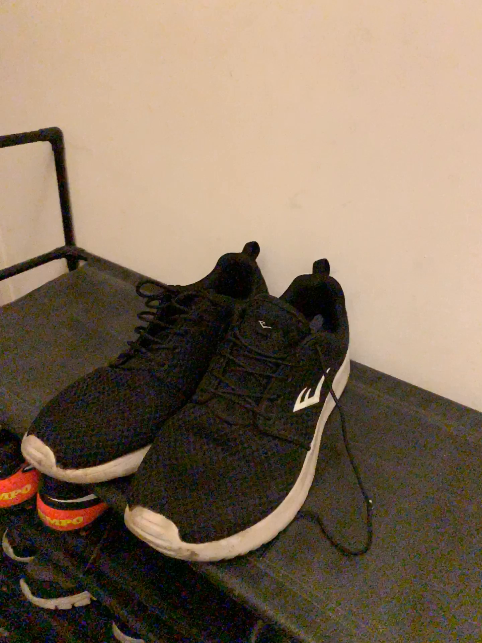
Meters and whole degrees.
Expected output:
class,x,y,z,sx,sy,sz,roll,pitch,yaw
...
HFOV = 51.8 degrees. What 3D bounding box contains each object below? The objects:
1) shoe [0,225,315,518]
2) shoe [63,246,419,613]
class,x,y,z,sx,sy,sz,roll,pitch,yaw
shoe,-0.061,0.013,0.448,0.110,0.099,0.302,22,36,29
shoe,0.027,0.046,0.400,0.120,0.099,0.302,21,36,28
